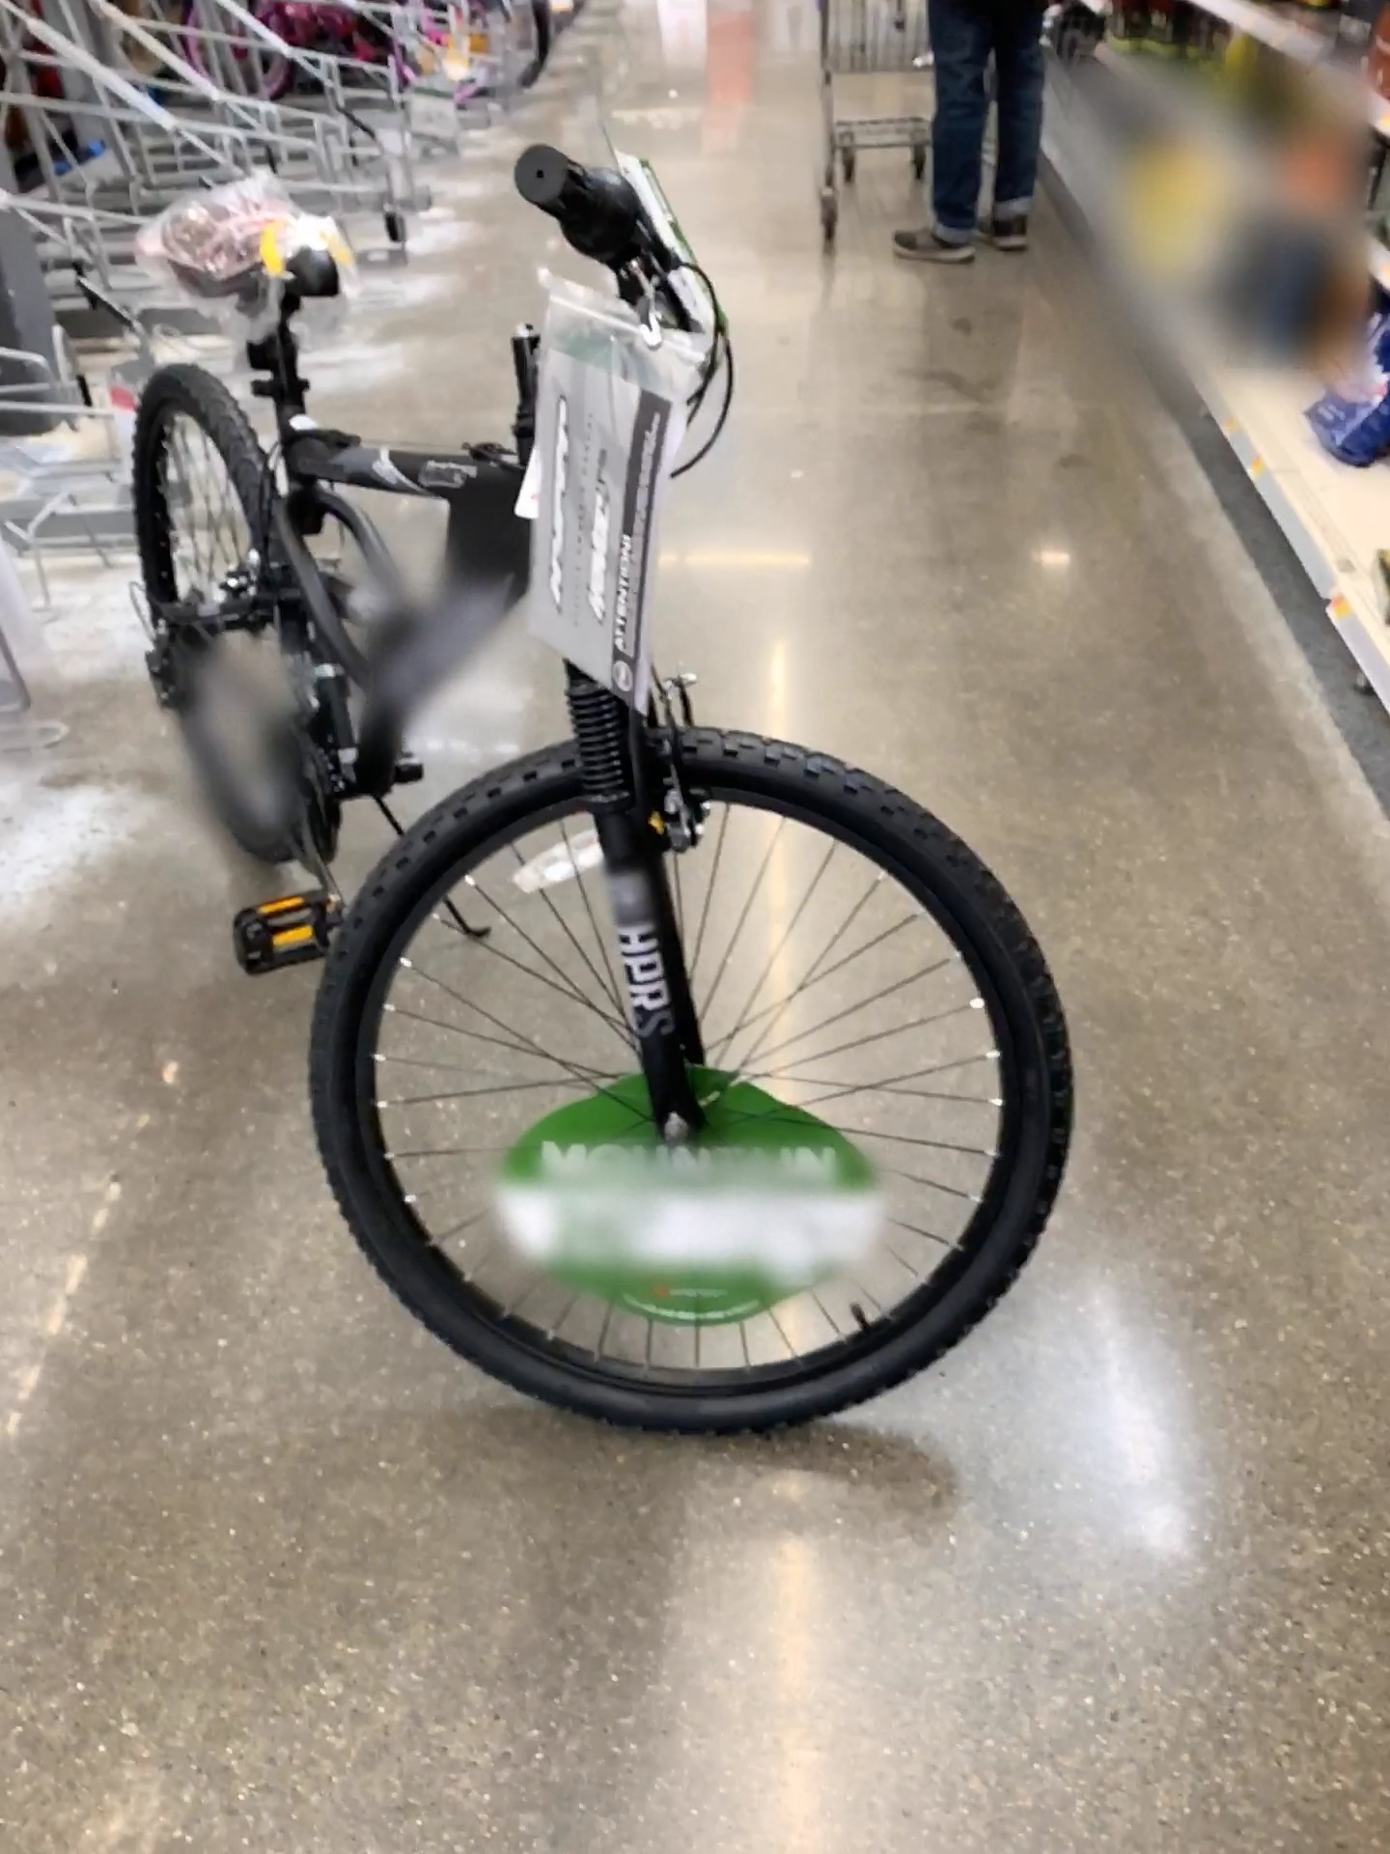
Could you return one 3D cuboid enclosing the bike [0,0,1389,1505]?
[{"bbox_3d":[-0.218,-0.383,1.730,0.692,1.089,1.683,-32,49,-32],"label":"bike"}]
